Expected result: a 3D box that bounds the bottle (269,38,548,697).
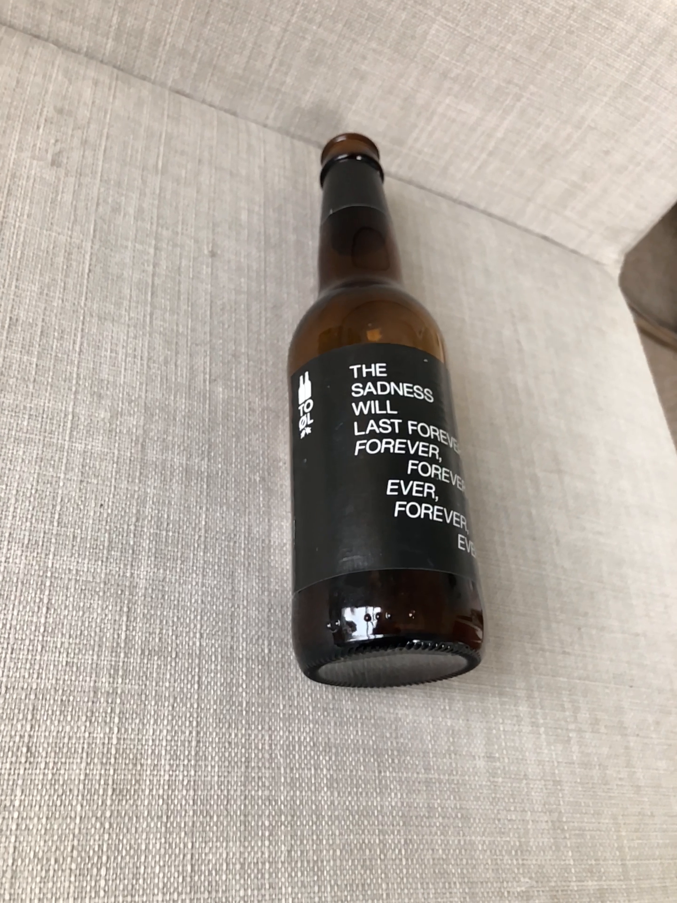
[{"bbox_3d":[0.016,-0.039,0.281,0.060,0.060,0.239,13,59,-27],"label":"bottle"}]
